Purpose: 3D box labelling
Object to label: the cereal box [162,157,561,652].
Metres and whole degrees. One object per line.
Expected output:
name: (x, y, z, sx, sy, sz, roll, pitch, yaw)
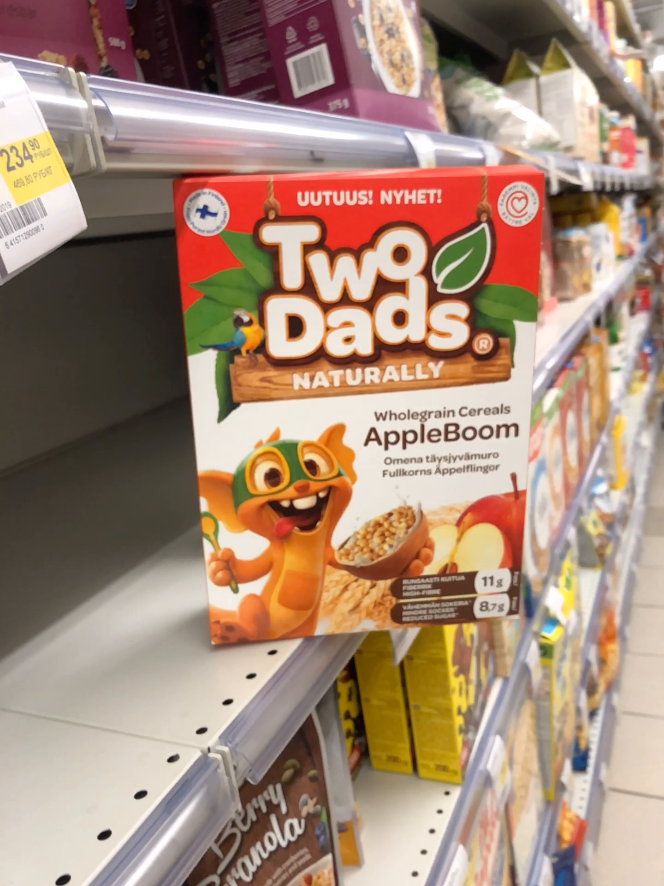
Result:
cereal box: (0.016, -0.023, 0.444, 0.200, 0.269, 0.080, -3, 17, -6)
